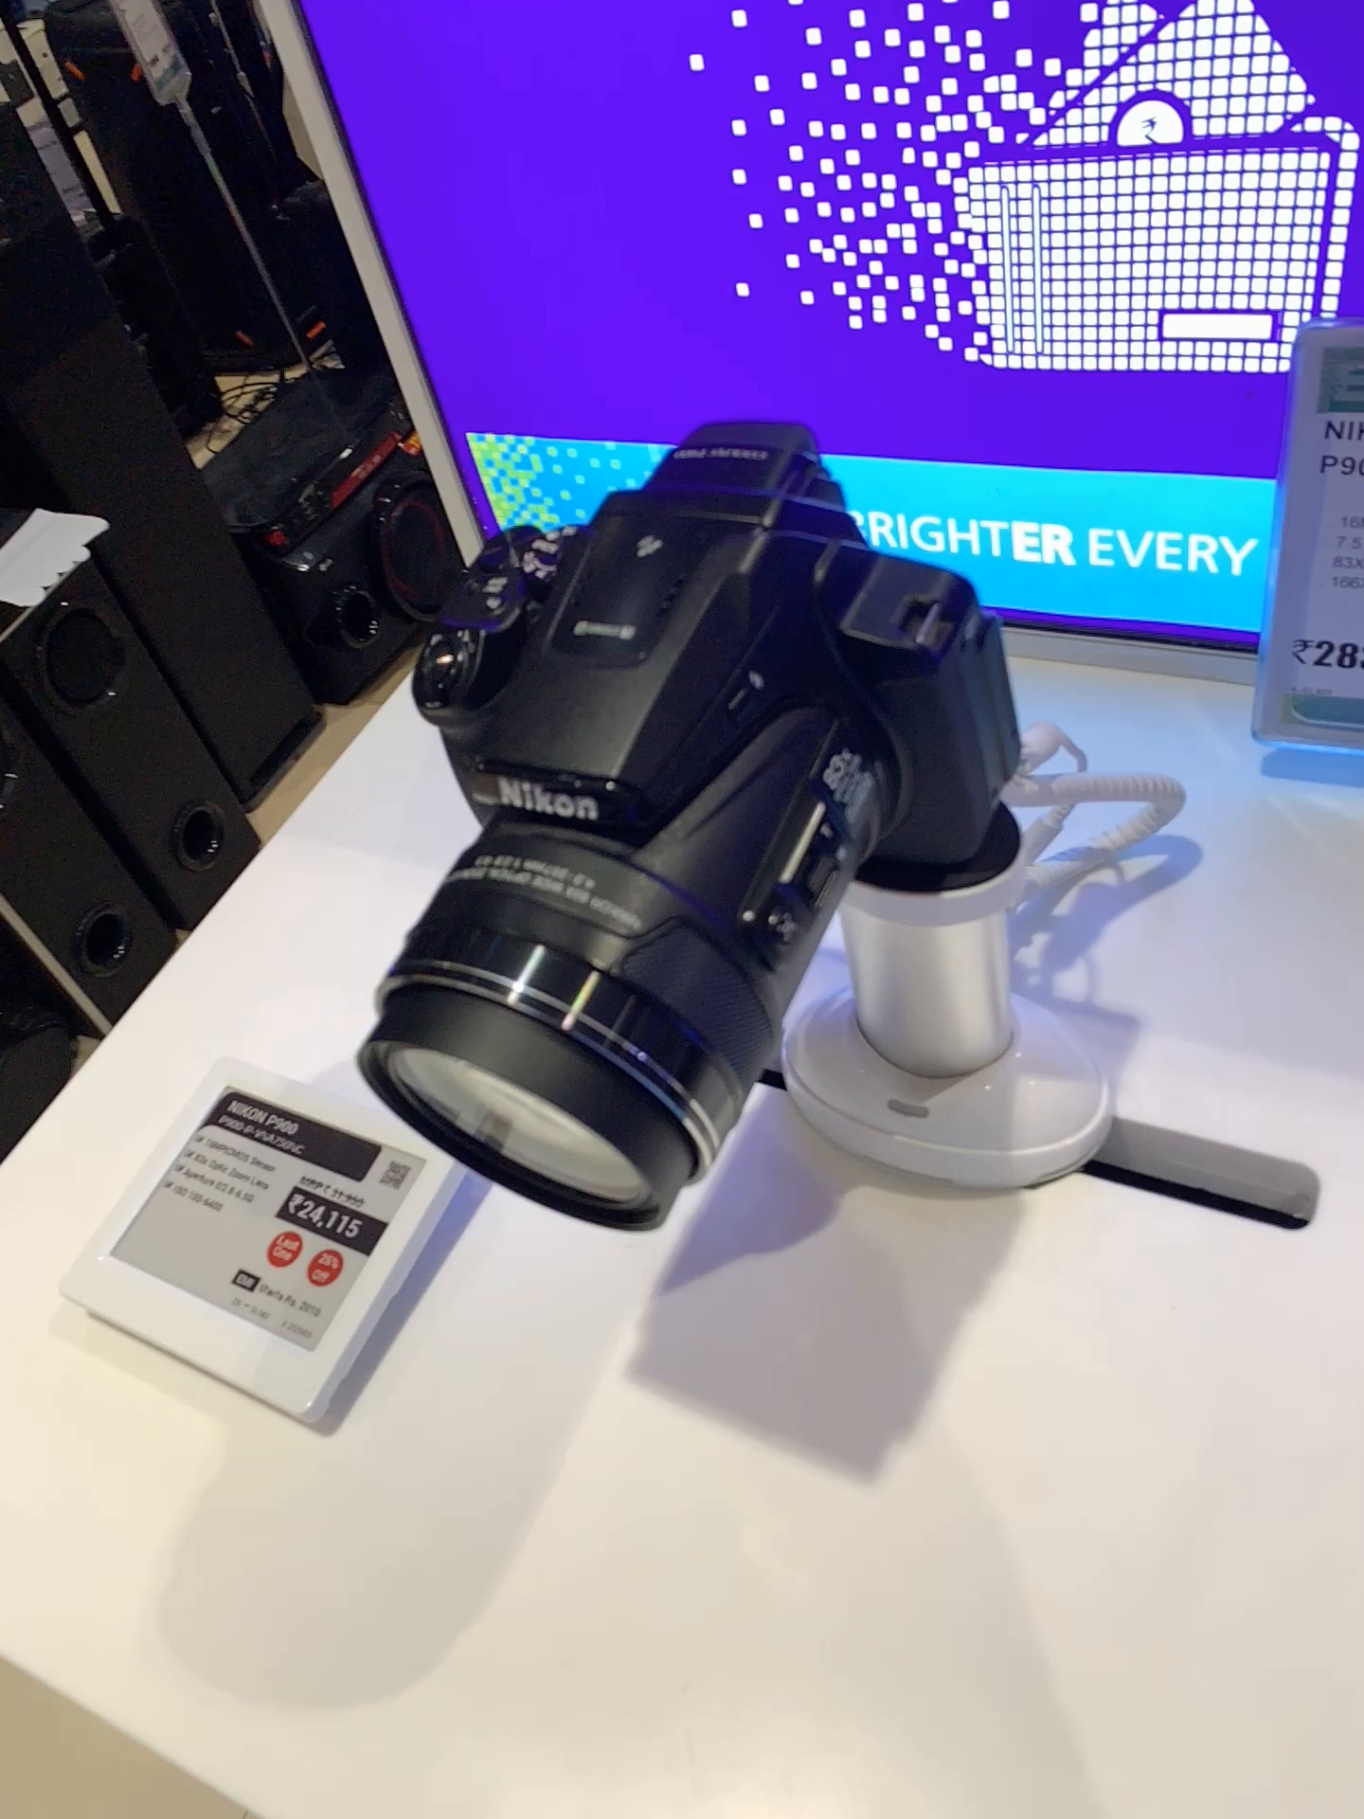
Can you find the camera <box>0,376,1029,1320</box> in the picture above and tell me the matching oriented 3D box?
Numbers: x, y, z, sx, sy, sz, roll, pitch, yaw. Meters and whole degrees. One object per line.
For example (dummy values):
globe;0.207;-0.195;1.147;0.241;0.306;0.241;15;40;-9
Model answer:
camera;-0.020;-0.027;0.293;0.140;0.090;0.160;12;53;25
